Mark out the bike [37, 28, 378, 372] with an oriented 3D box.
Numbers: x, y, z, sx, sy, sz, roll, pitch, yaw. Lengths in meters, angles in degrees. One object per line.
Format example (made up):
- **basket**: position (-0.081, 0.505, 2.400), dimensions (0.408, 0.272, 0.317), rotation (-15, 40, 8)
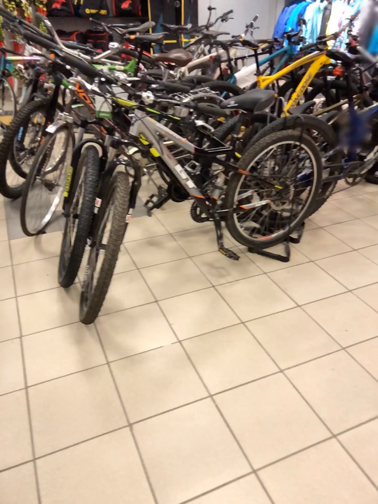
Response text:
- **bike**: position (0.205, -0.375, 1.826), dimensions (1.428, 1.012, 0.626), rotation (-24, 38, -39)
